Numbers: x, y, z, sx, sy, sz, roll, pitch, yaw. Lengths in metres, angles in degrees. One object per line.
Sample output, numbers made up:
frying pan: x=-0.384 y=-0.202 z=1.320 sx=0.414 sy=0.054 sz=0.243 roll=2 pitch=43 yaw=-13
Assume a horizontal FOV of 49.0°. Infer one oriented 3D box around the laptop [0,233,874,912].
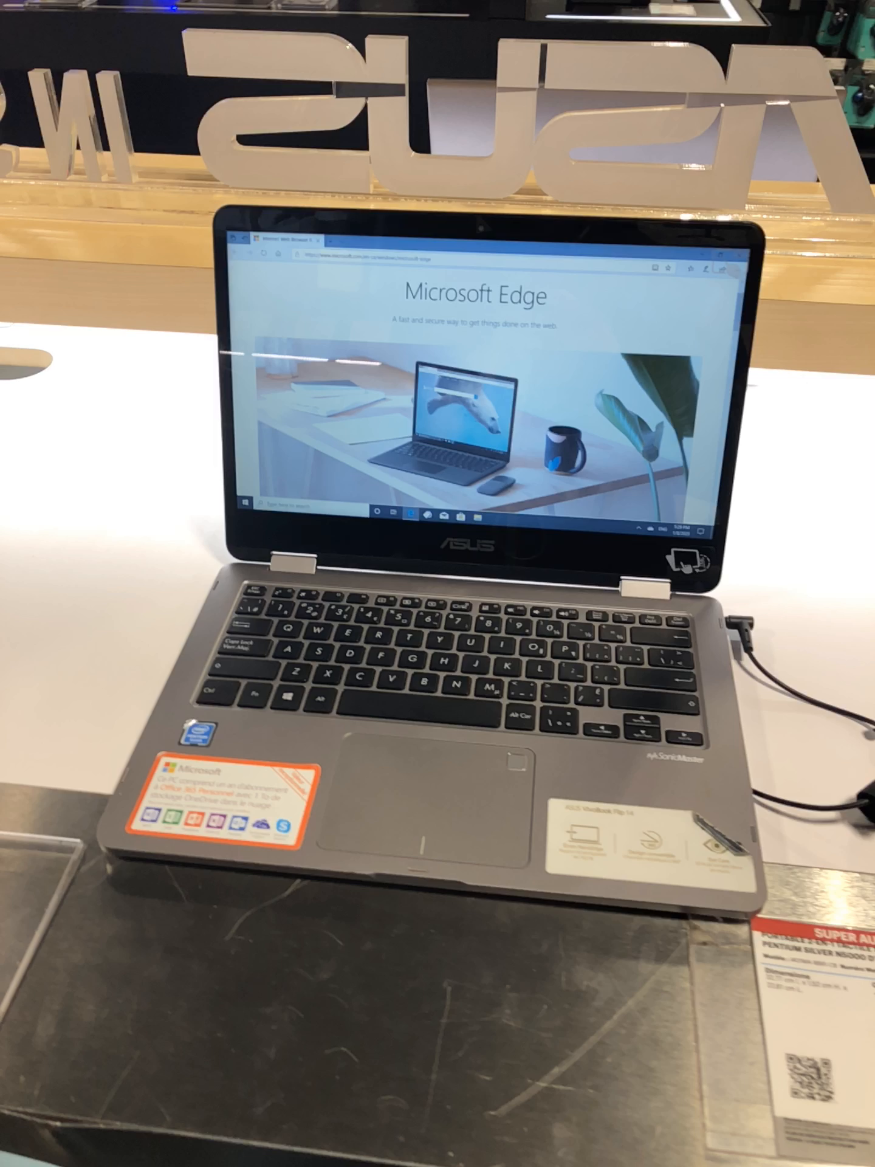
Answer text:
laptop: x=0.012 y=-0.030 z=0.485 sx=0.304 sy=0.212 sz=0.279 roll=4 pitch=36 yaw=7
